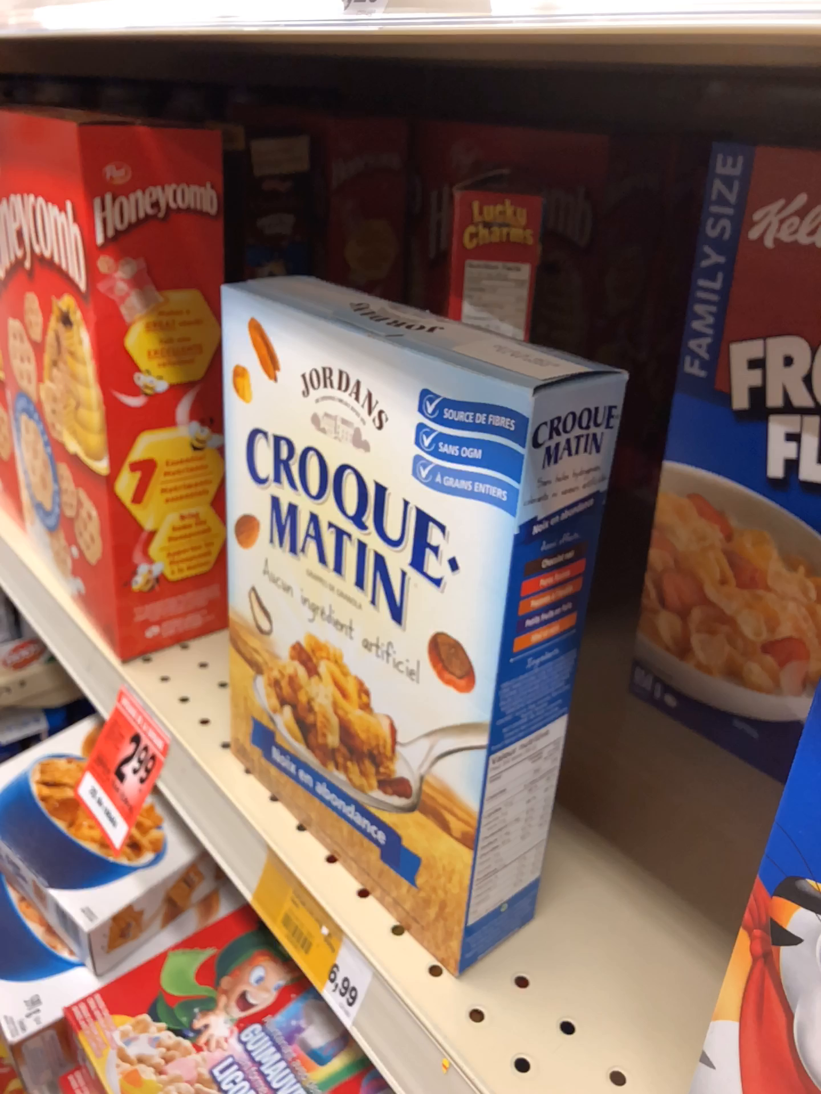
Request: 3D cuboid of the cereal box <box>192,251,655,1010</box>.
[{"bbox_3d":[-0.015,0.025,0.391,0.050,0.258,0.201,-18,33,-37],"label":"cereal box"}]
